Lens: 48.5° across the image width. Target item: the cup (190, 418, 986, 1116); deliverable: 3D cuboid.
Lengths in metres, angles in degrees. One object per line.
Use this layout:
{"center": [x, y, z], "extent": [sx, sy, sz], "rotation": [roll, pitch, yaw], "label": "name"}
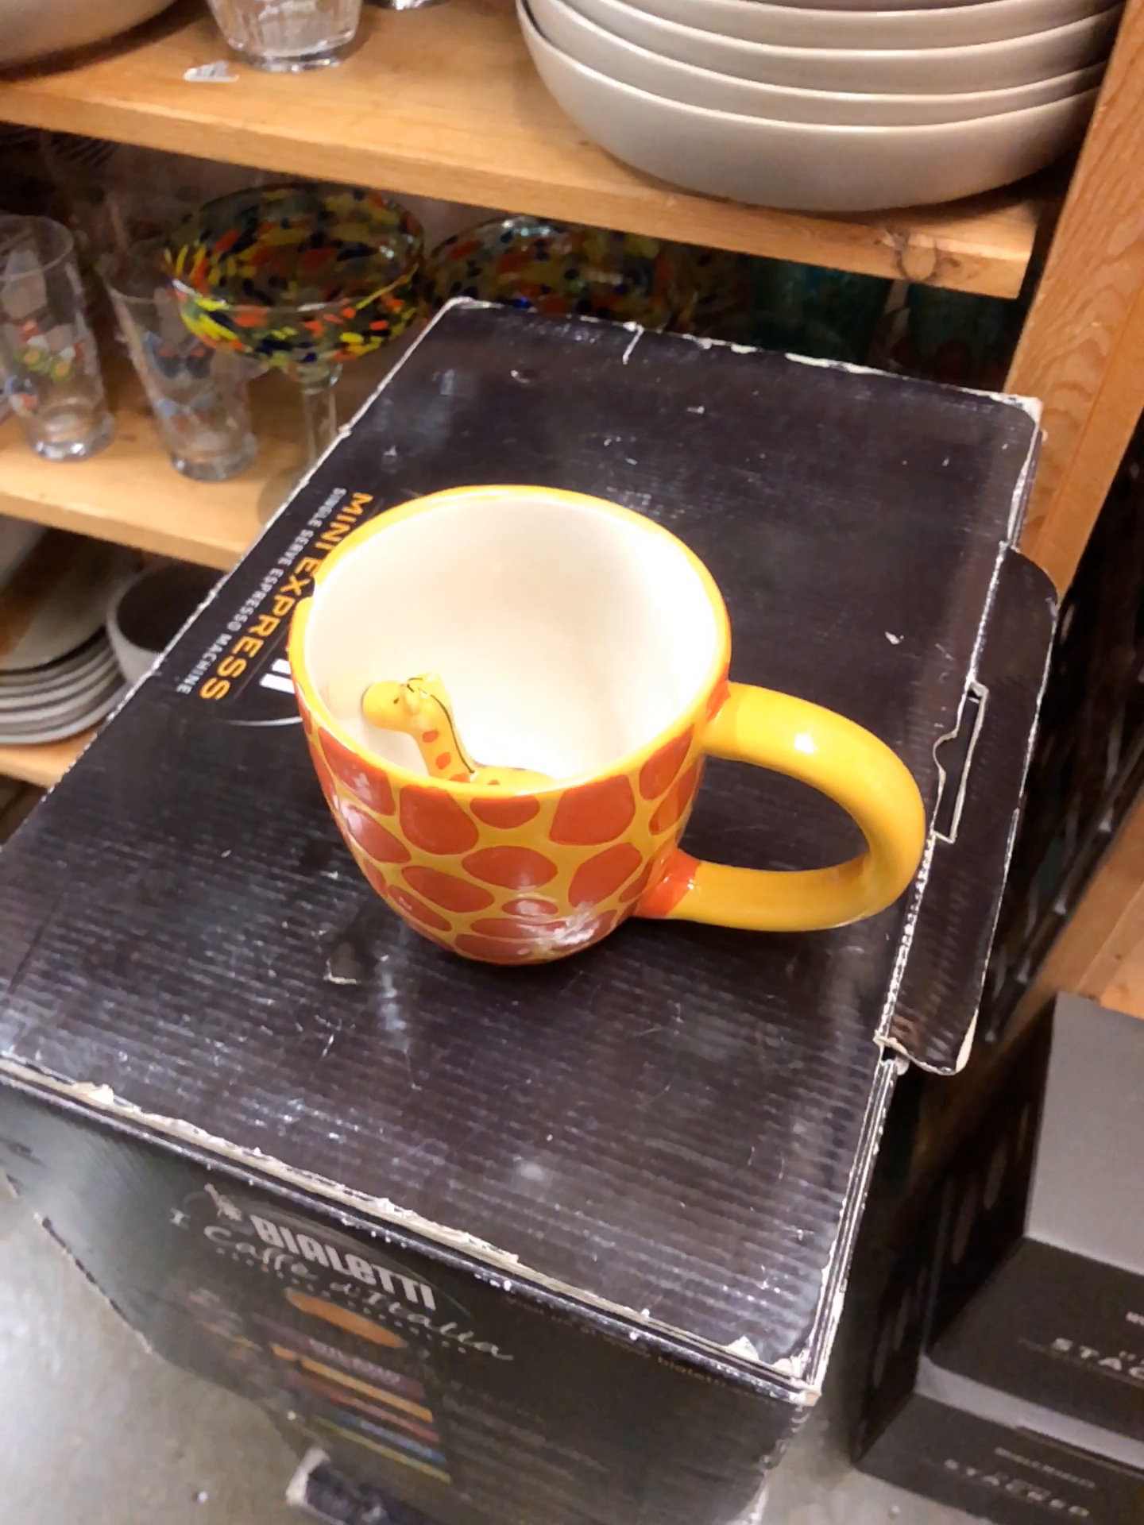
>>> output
{"center": [0.007, -0.004, 0.283], "extent": [0.134, 0.067, 0.102], "rotation": [18, 53, 13], "label": "cup"}
